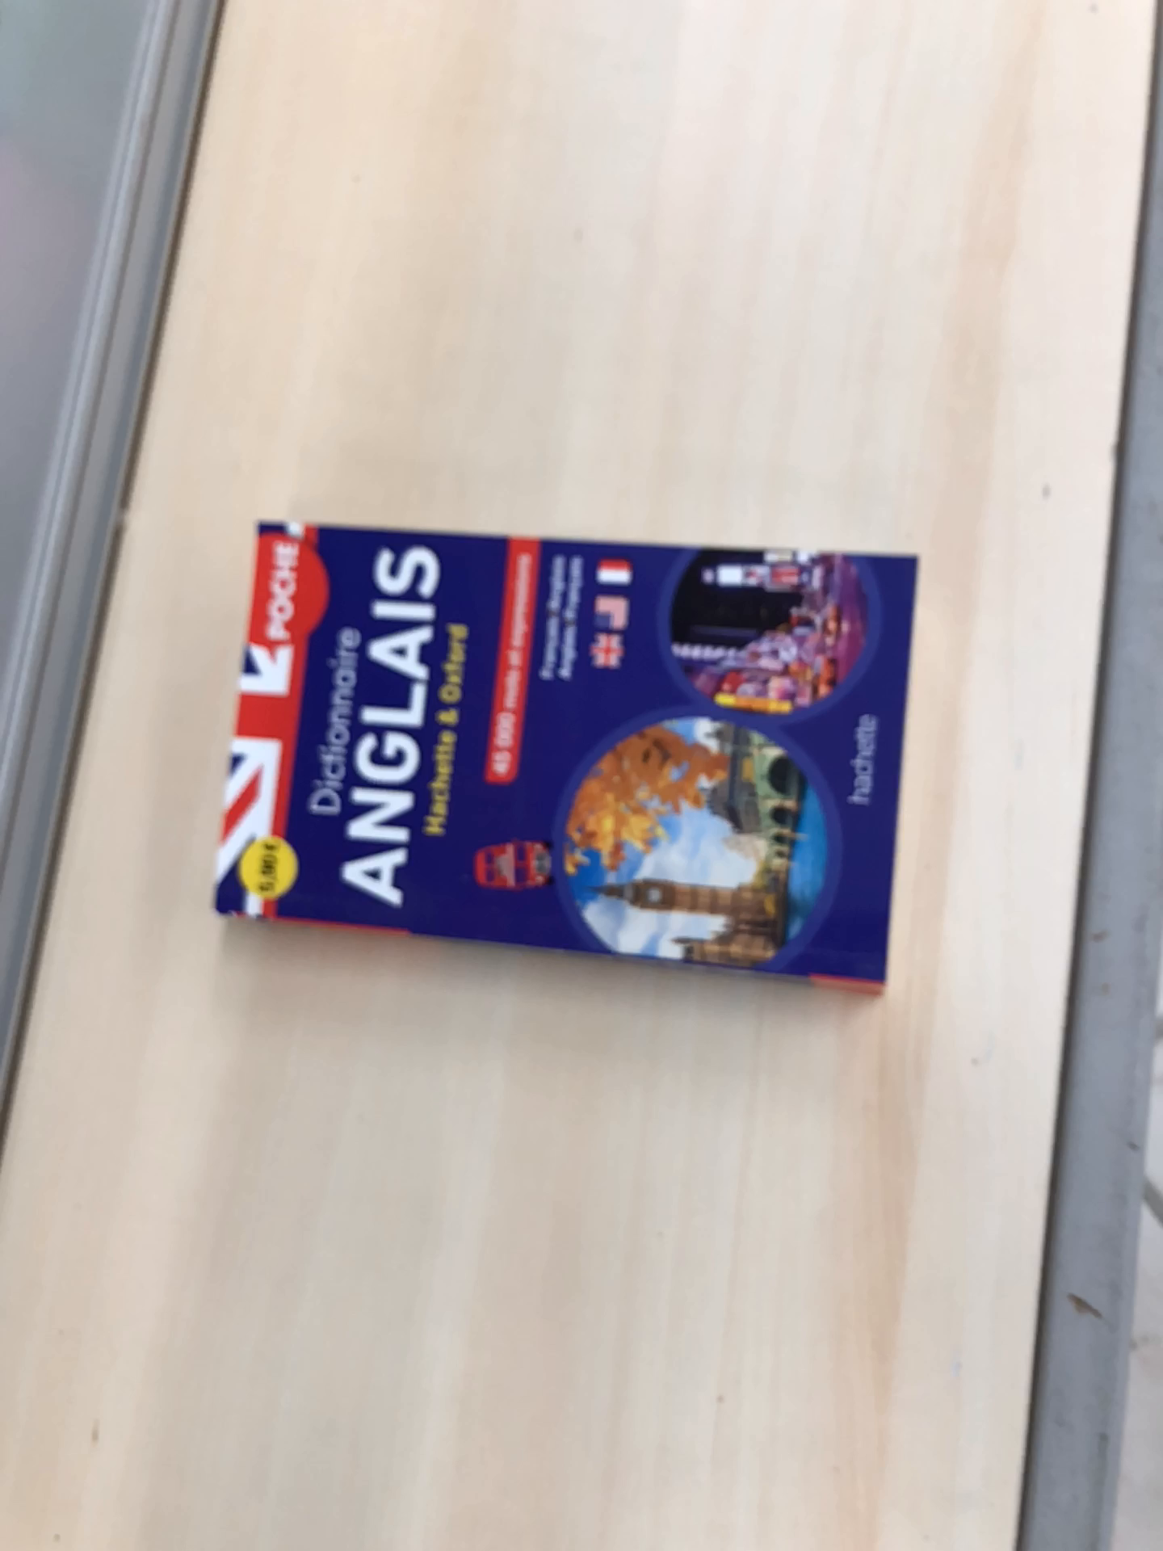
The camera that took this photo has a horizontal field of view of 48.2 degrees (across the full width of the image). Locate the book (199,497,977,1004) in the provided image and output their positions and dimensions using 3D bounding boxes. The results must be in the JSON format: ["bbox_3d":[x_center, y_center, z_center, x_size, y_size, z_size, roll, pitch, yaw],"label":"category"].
[{"bbox_3d":[0.003,-0.009,0.344,0.187,0.040,0.119,3,78,12],"label":"book"}]
